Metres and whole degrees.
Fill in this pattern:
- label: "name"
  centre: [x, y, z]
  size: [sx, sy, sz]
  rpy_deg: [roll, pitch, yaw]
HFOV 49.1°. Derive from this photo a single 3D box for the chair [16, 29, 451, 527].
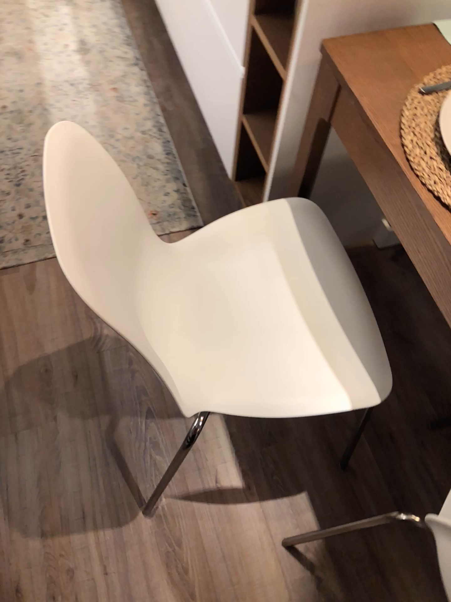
- label: "chair"
  centre: [0.008, 0.026, 0.904]
  size: [0.530, 0.707, 0.542]
  rpy_deg: [-10, 62, -10]
